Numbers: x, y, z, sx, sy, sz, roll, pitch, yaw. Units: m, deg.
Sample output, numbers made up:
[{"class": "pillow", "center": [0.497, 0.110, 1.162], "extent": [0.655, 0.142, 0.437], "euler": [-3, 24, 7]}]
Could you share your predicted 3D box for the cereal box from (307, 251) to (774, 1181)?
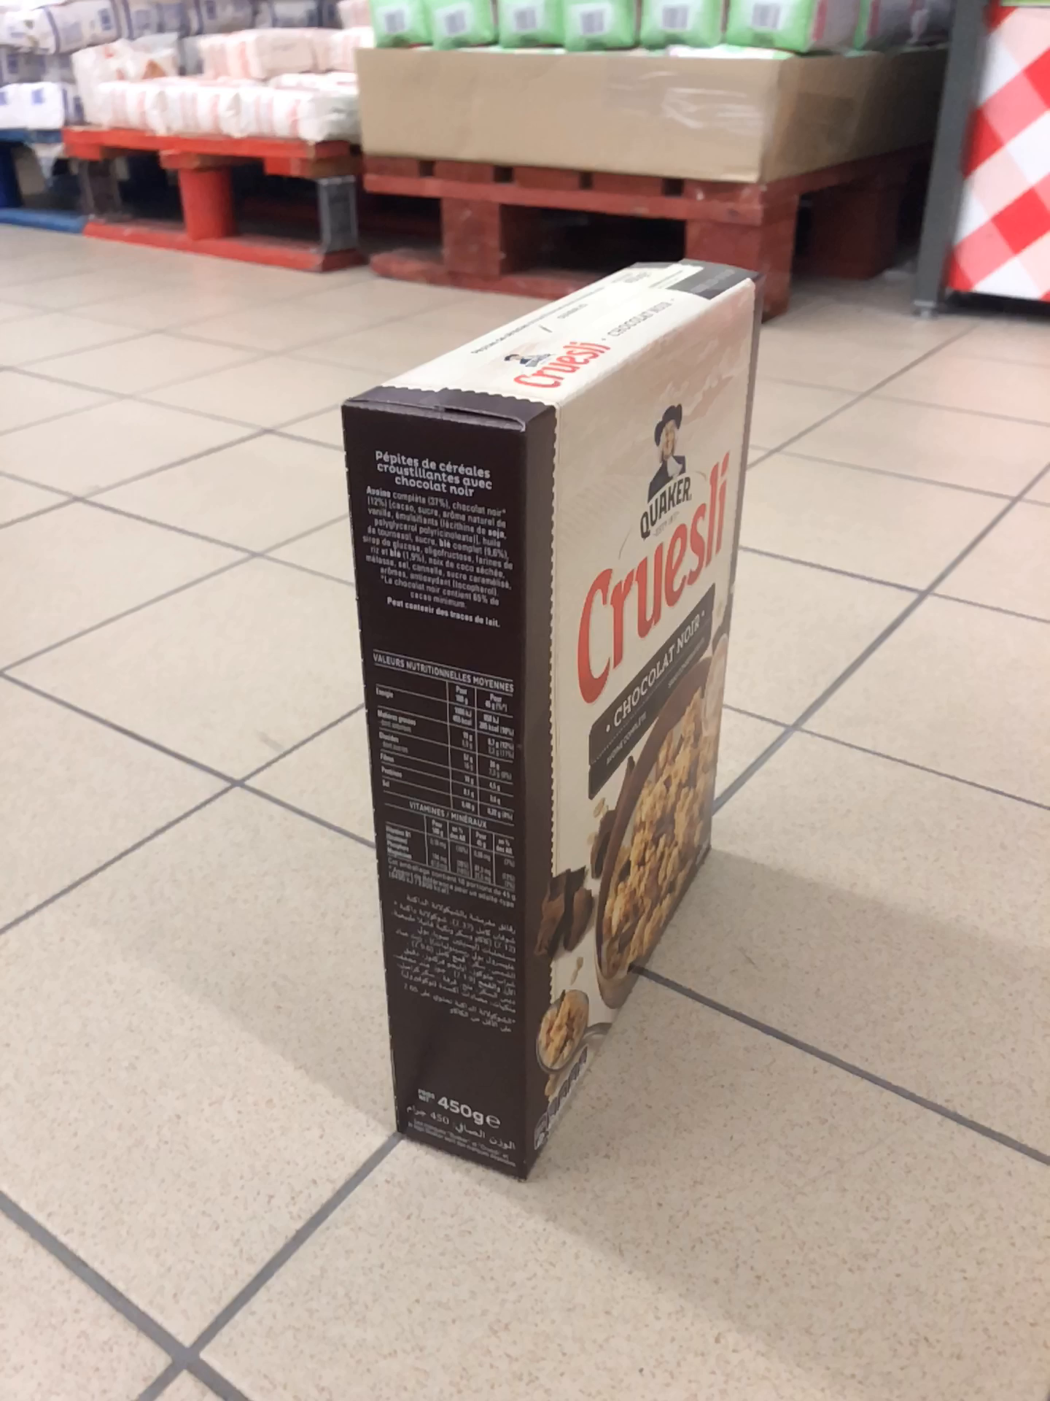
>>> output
[{"class": "cereal box", "center": [0.019, -0.006, 0.387], "extent": [0.050, 0.239, 0.201], "euler": [13, 32, 23]}]
